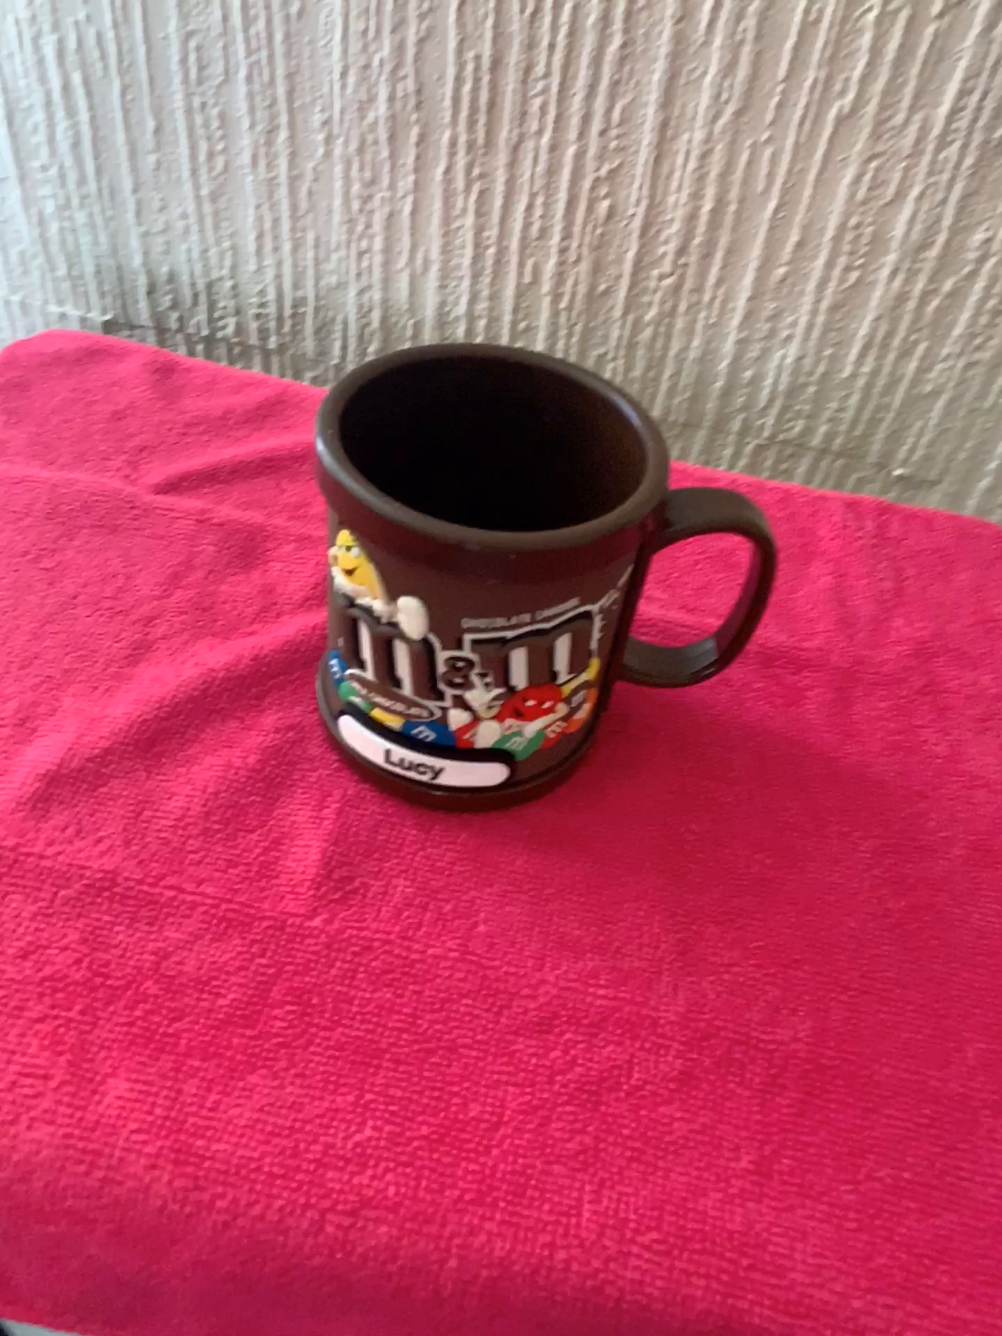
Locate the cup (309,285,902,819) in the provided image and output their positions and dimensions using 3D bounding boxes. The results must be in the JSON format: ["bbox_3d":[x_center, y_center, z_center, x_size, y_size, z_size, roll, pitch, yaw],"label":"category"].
[{"bbox_3d":[0.014,-0.028,0.271,0.120,0.099,0.091,2,45,-7],"label":"cup"}]
